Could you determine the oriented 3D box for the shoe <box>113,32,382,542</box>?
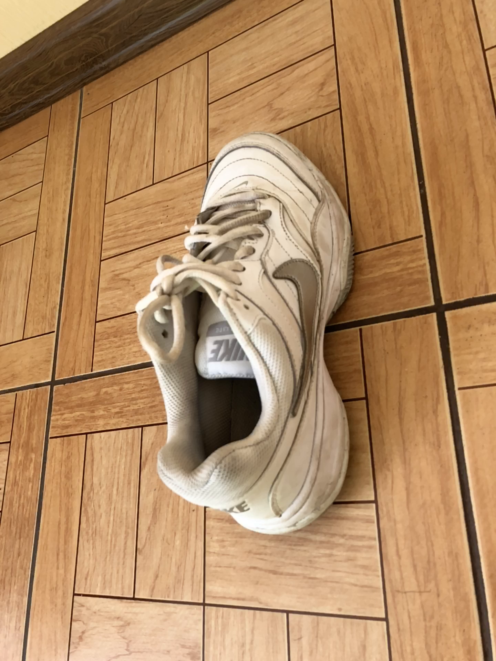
[{"bbox_3d":[0.000,-0.017,0.322,0.100,0.100,0.260,-13,68,29],"label":"shoe"}]
